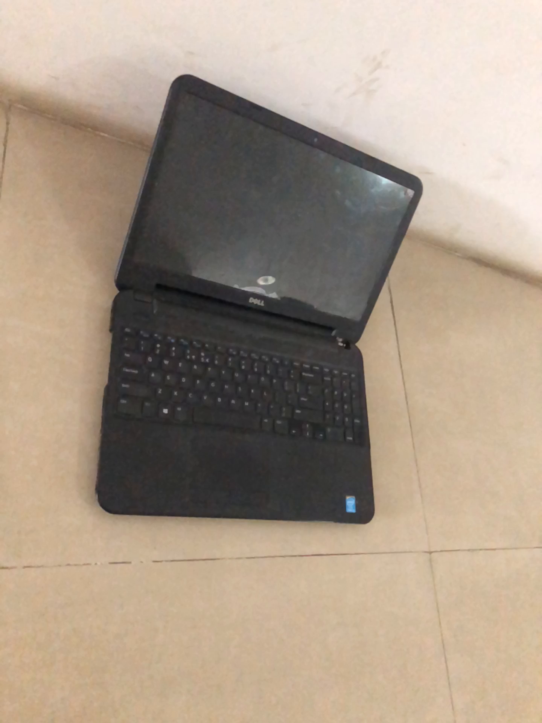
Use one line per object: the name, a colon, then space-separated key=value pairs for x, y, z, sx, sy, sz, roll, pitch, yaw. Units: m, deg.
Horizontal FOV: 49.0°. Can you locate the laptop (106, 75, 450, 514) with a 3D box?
laptop: x=0.002 y=-0.049 z=0.685 sx=0.322 sy=0.166 sz=0.409 roll=11 pitch=64 yaw=-33
